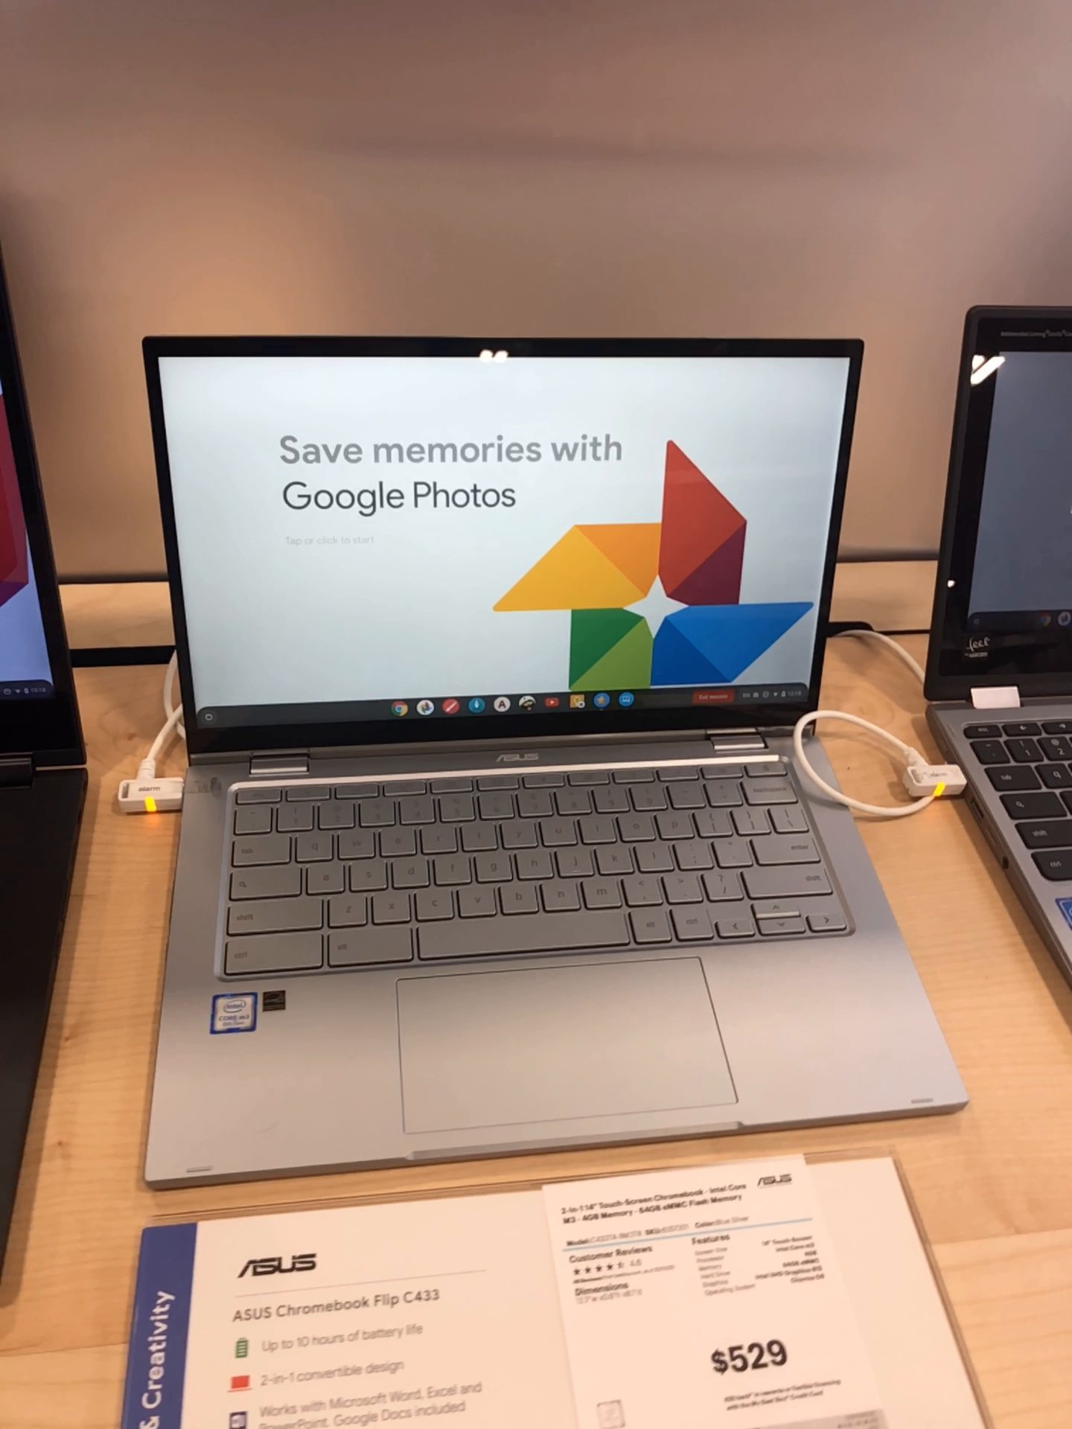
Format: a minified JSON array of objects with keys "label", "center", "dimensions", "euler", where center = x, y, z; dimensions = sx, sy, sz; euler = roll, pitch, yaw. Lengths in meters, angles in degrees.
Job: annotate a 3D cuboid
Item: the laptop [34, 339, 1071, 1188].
[{"label":"laptop","center":[0.003,-0.004,0.484],"dimensions":[0.310,0.174,0.283],"euler":[-3,44,-9]}]
